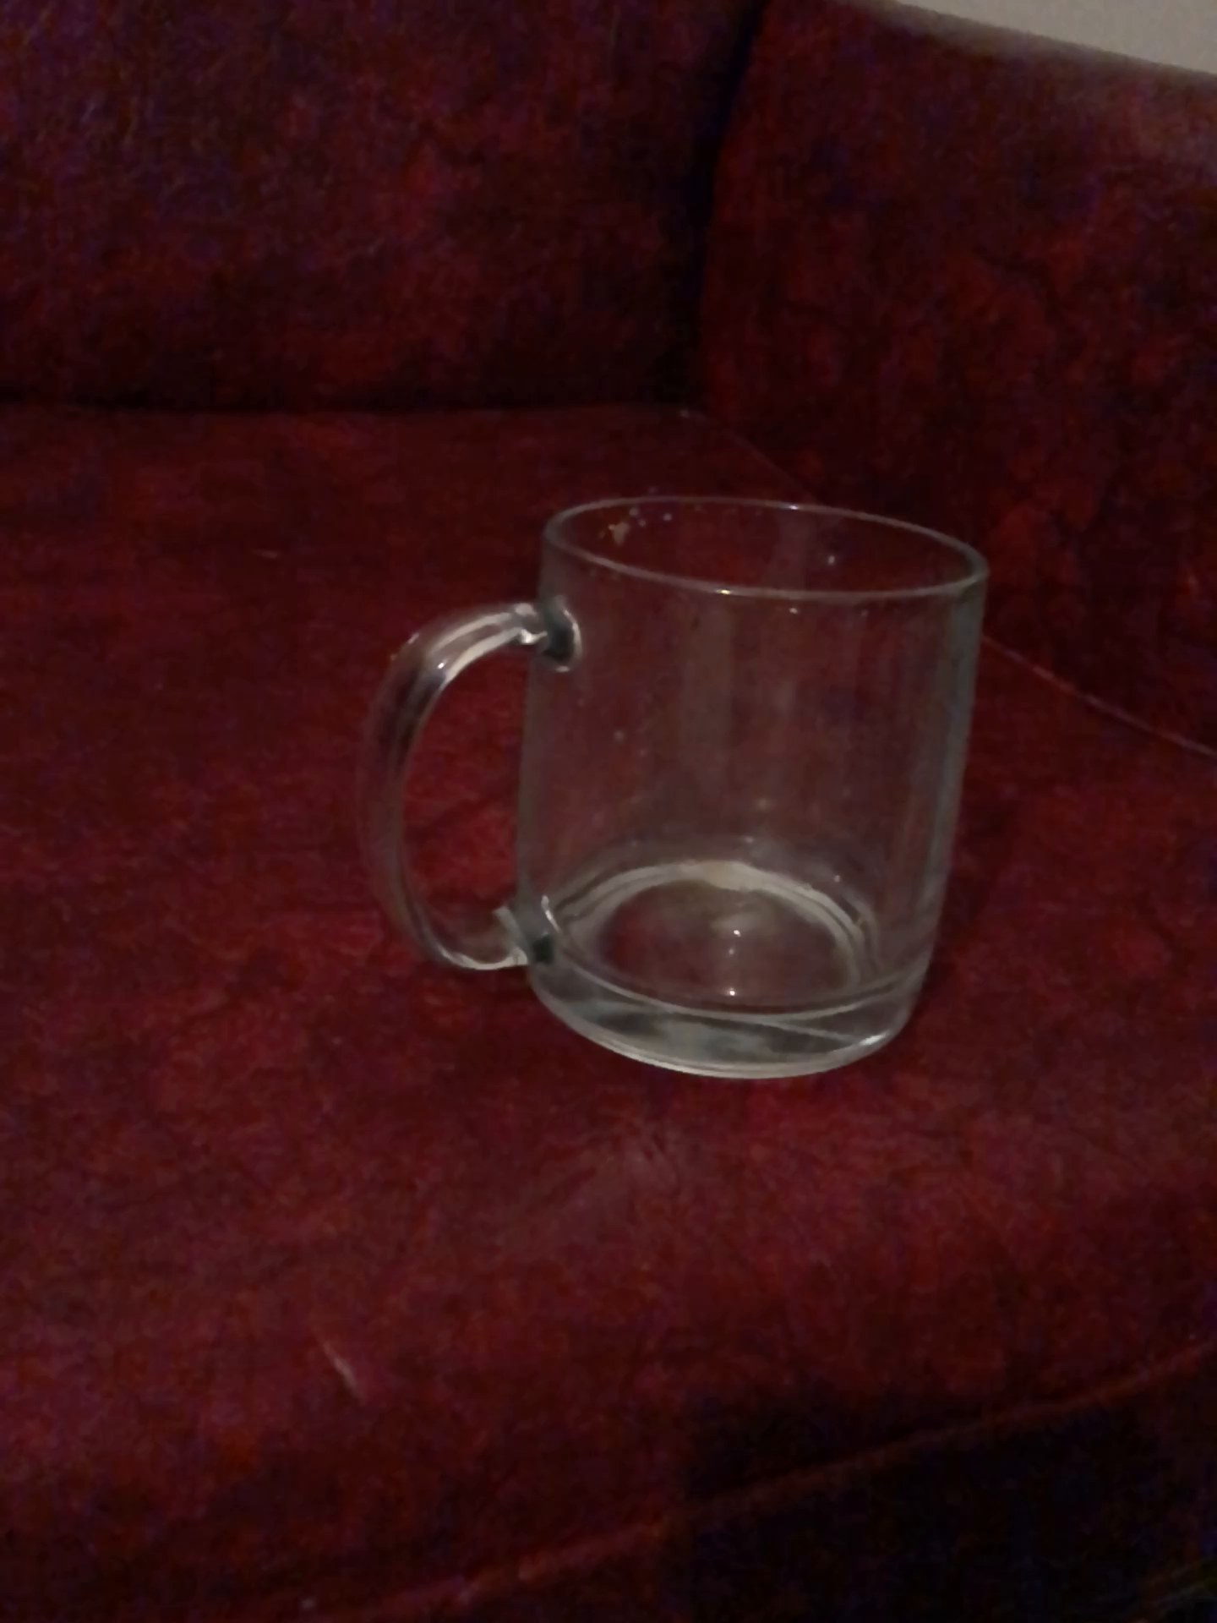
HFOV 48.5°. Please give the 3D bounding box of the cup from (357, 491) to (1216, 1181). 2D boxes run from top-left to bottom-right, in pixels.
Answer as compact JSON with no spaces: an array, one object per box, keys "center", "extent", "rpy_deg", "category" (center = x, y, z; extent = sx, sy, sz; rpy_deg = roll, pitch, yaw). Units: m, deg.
[{"center":[0.027,-0.007,0.262],"extent":[0.128,0.089,0.090],"rpy_deg":[-7,26,-26],"category":"cup"}]
